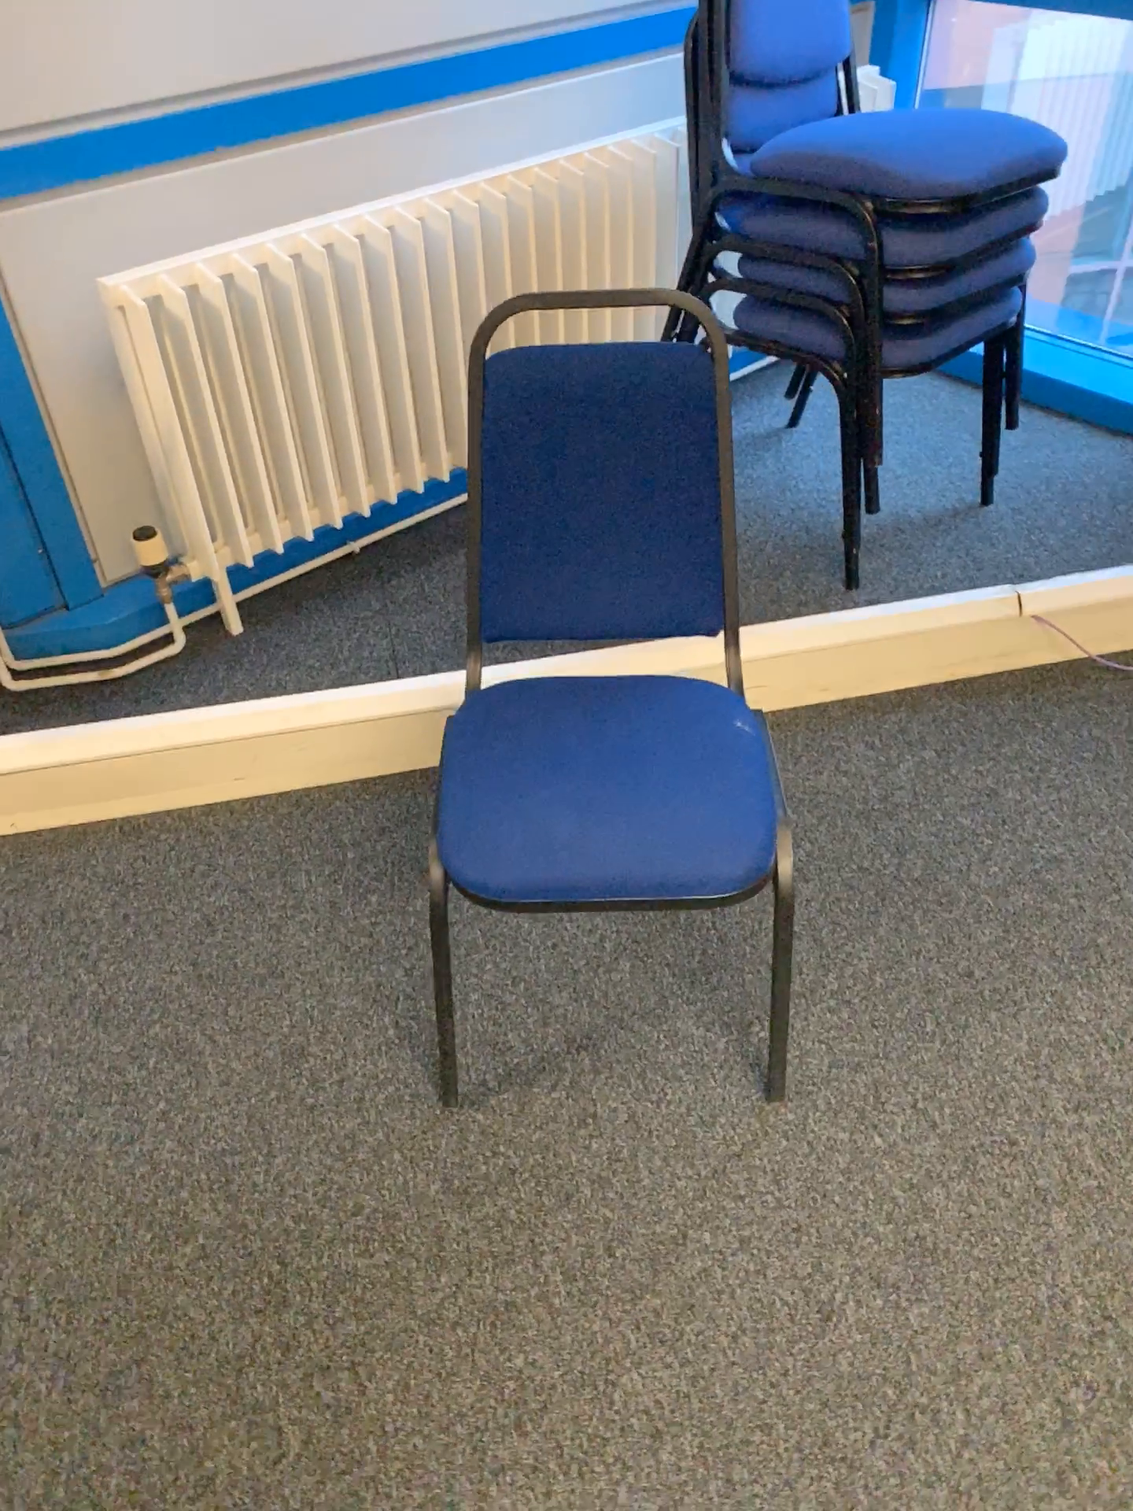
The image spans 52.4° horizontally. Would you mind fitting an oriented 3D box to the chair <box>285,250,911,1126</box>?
[{"bbox_3d":[0.035,-0.057,1.363,0.472,0.842,0.580,-1,41,1],"label":"chair"}]
